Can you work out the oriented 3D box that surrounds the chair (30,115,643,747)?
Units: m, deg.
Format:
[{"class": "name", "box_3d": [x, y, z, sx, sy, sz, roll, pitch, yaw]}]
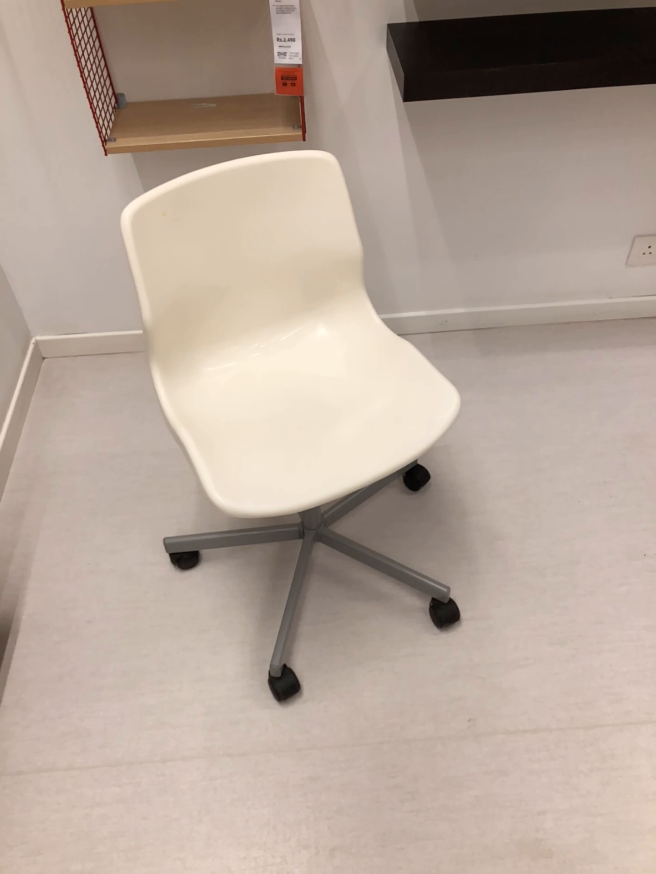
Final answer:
[{"class": "chair", "box_3d": [-0.019, -0.021, 1.243, 0.621, 0.686, 0.623, -23, 51, -17]}]
